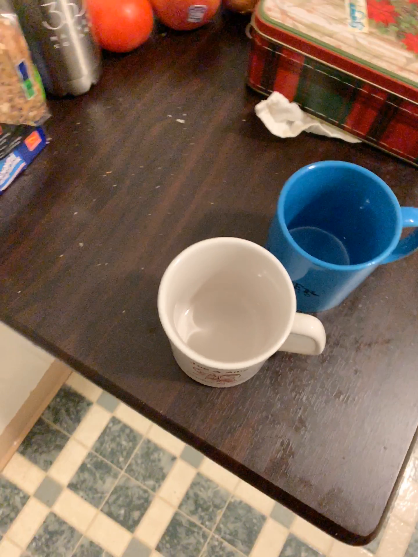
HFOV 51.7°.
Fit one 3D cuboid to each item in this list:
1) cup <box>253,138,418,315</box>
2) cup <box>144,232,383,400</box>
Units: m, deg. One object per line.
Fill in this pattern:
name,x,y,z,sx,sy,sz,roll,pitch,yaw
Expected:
cup,0.112,-0.033,0.319,0.140,0.100,0.090,-2,69,-2
cup,0.028,0.031,0.297,0.130,0.100,0.090,0,69,-1
